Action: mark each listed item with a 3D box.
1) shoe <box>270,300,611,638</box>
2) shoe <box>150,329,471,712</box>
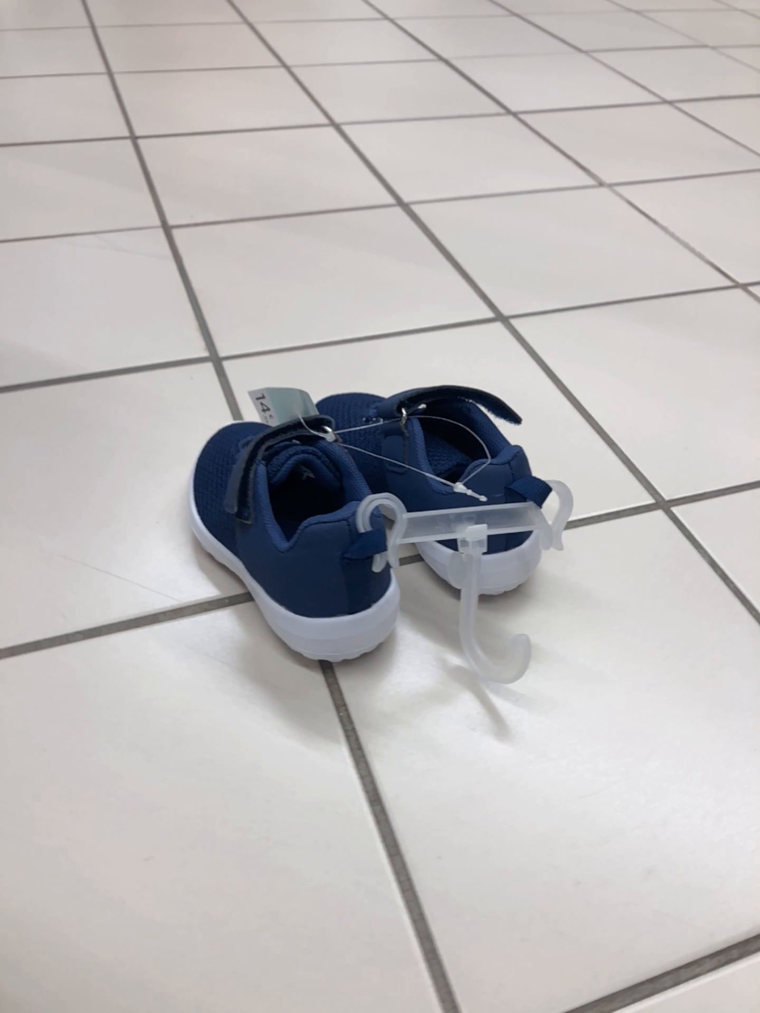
[{"bbox_3d":[0.021,-0.026,0.419,0.075,0.076,0.158,-26,50,-29],"label":"shoe"},{"bbox_3d":[-0.039,-0.003,0.387,0.081,0.073,0.160,-17,46,-22],"label":"shoe"}]
